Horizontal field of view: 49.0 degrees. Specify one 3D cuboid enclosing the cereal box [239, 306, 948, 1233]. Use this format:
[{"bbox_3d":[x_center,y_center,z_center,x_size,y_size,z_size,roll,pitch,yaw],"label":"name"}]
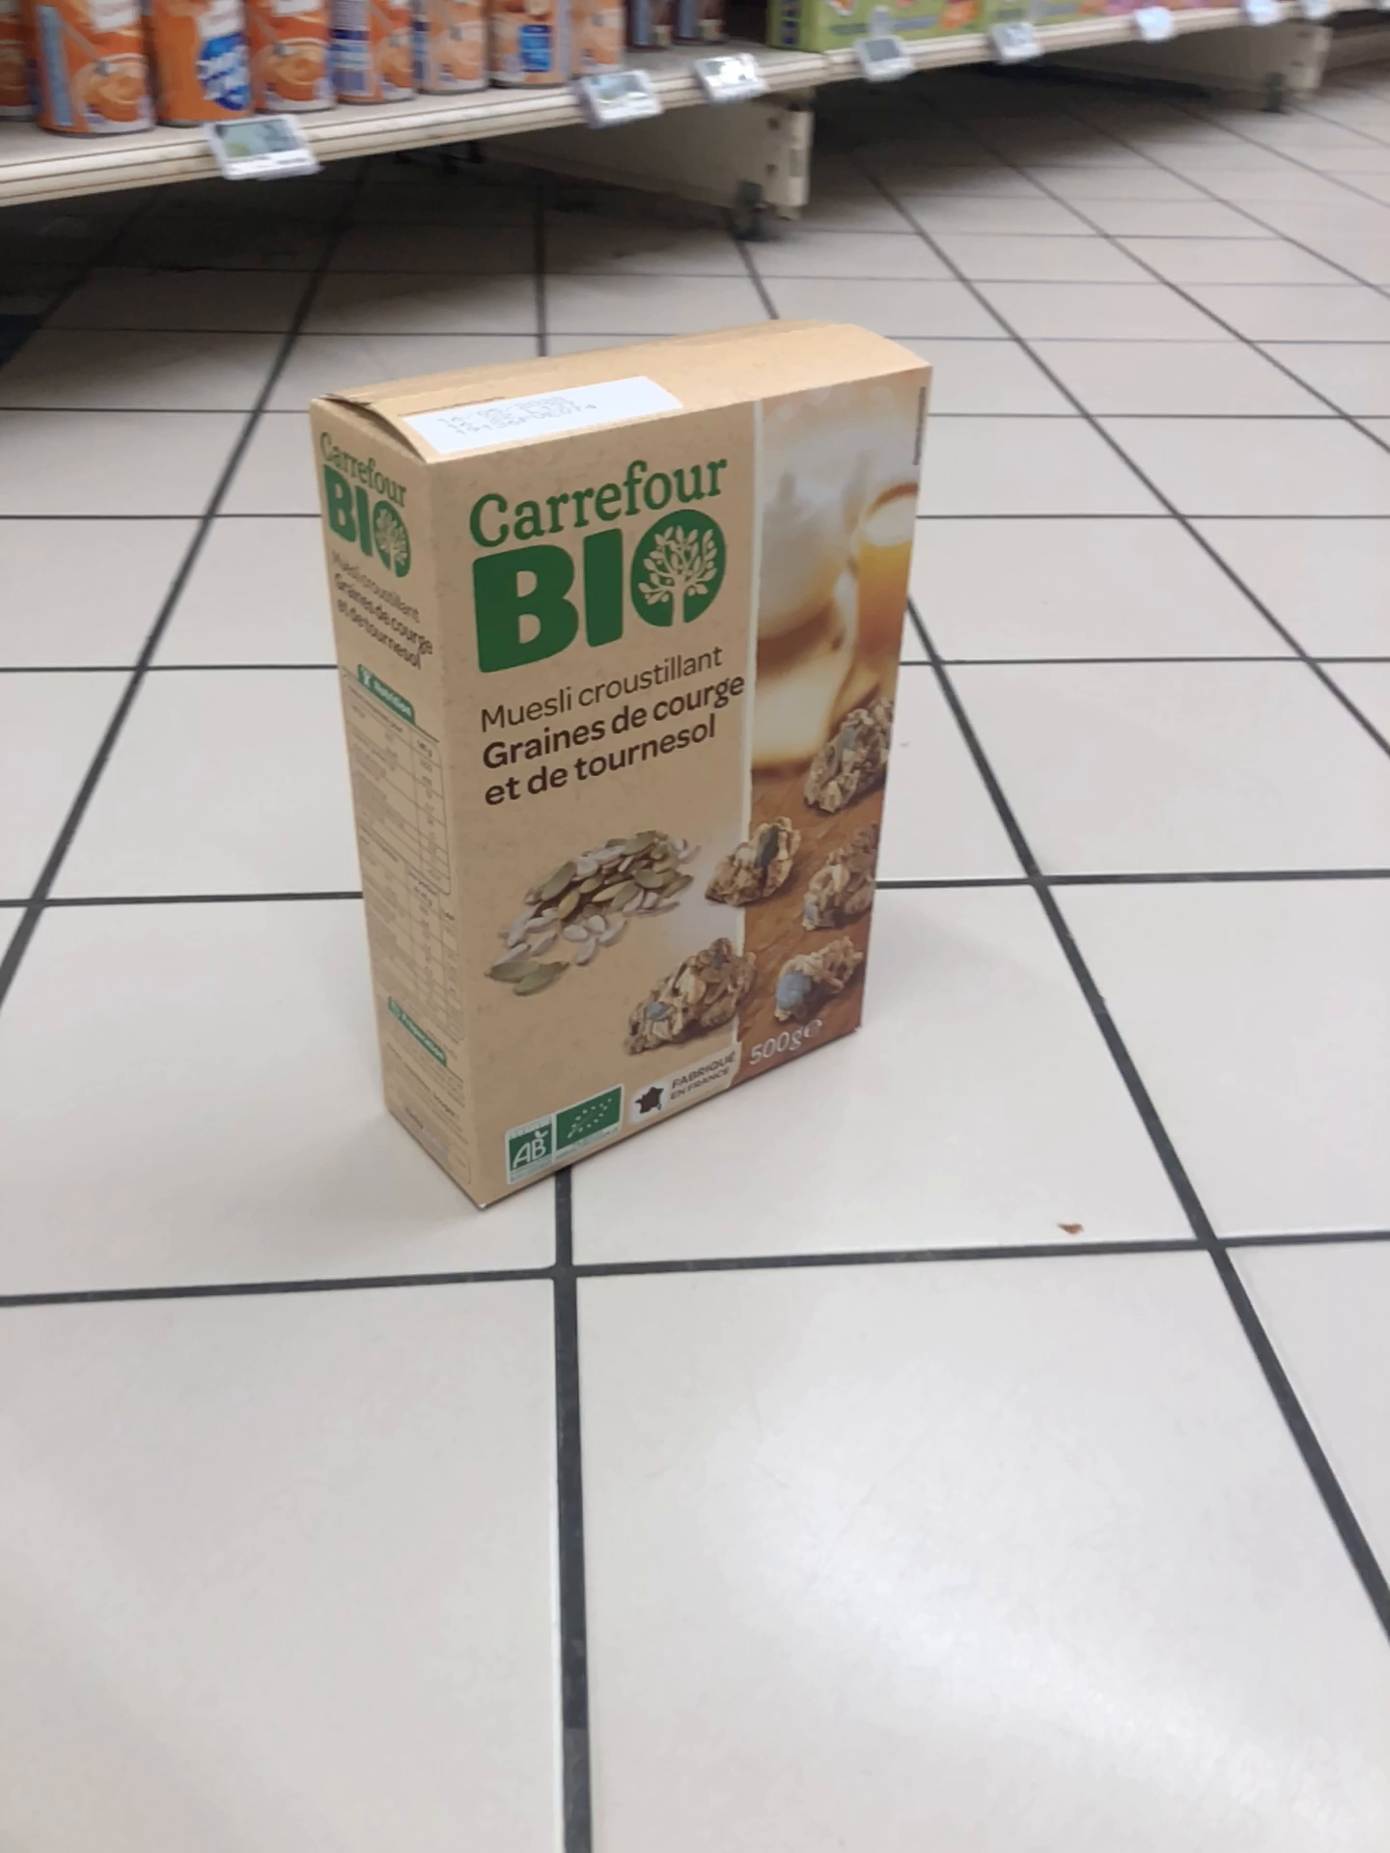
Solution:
[{"bbox_3d":[-0.025,-0.047,0.454,0.171,0.229,0.070,-22,41,-30],"label":"cereal box"}]
